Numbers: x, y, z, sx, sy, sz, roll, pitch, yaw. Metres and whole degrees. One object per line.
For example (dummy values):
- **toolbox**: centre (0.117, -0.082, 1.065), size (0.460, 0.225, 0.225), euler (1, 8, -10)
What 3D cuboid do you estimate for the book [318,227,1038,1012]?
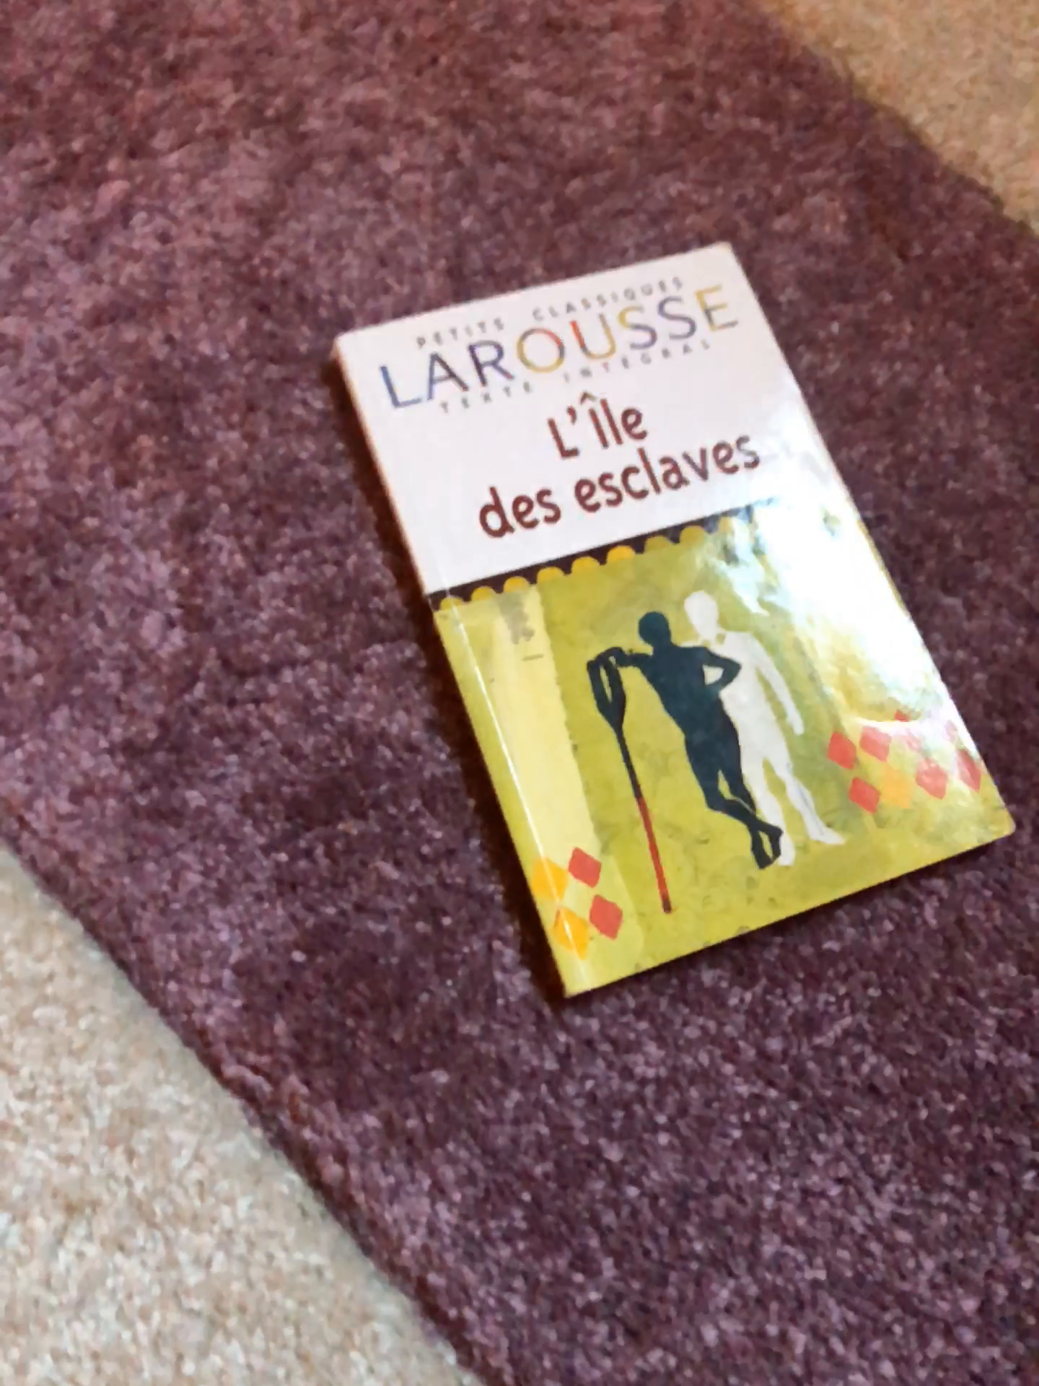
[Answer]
- **book**: centre (0.031, -0.026, 0.271), size (0.110, 0.020, 0.166), euler (-17, 73, -13)
